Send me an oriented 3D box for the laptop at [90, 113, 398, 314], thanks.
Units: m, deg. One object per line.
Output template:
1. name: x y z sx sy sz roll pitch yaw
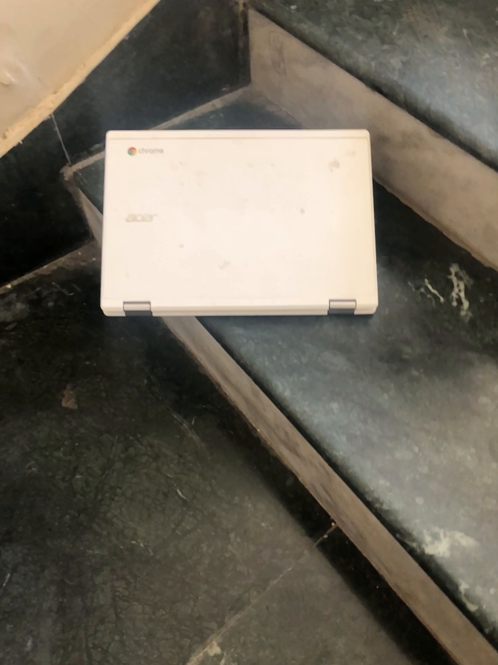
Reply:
1. laptop: -0.008 -0.128 0.587 0.282 0.091 0.191 0 60 -2
